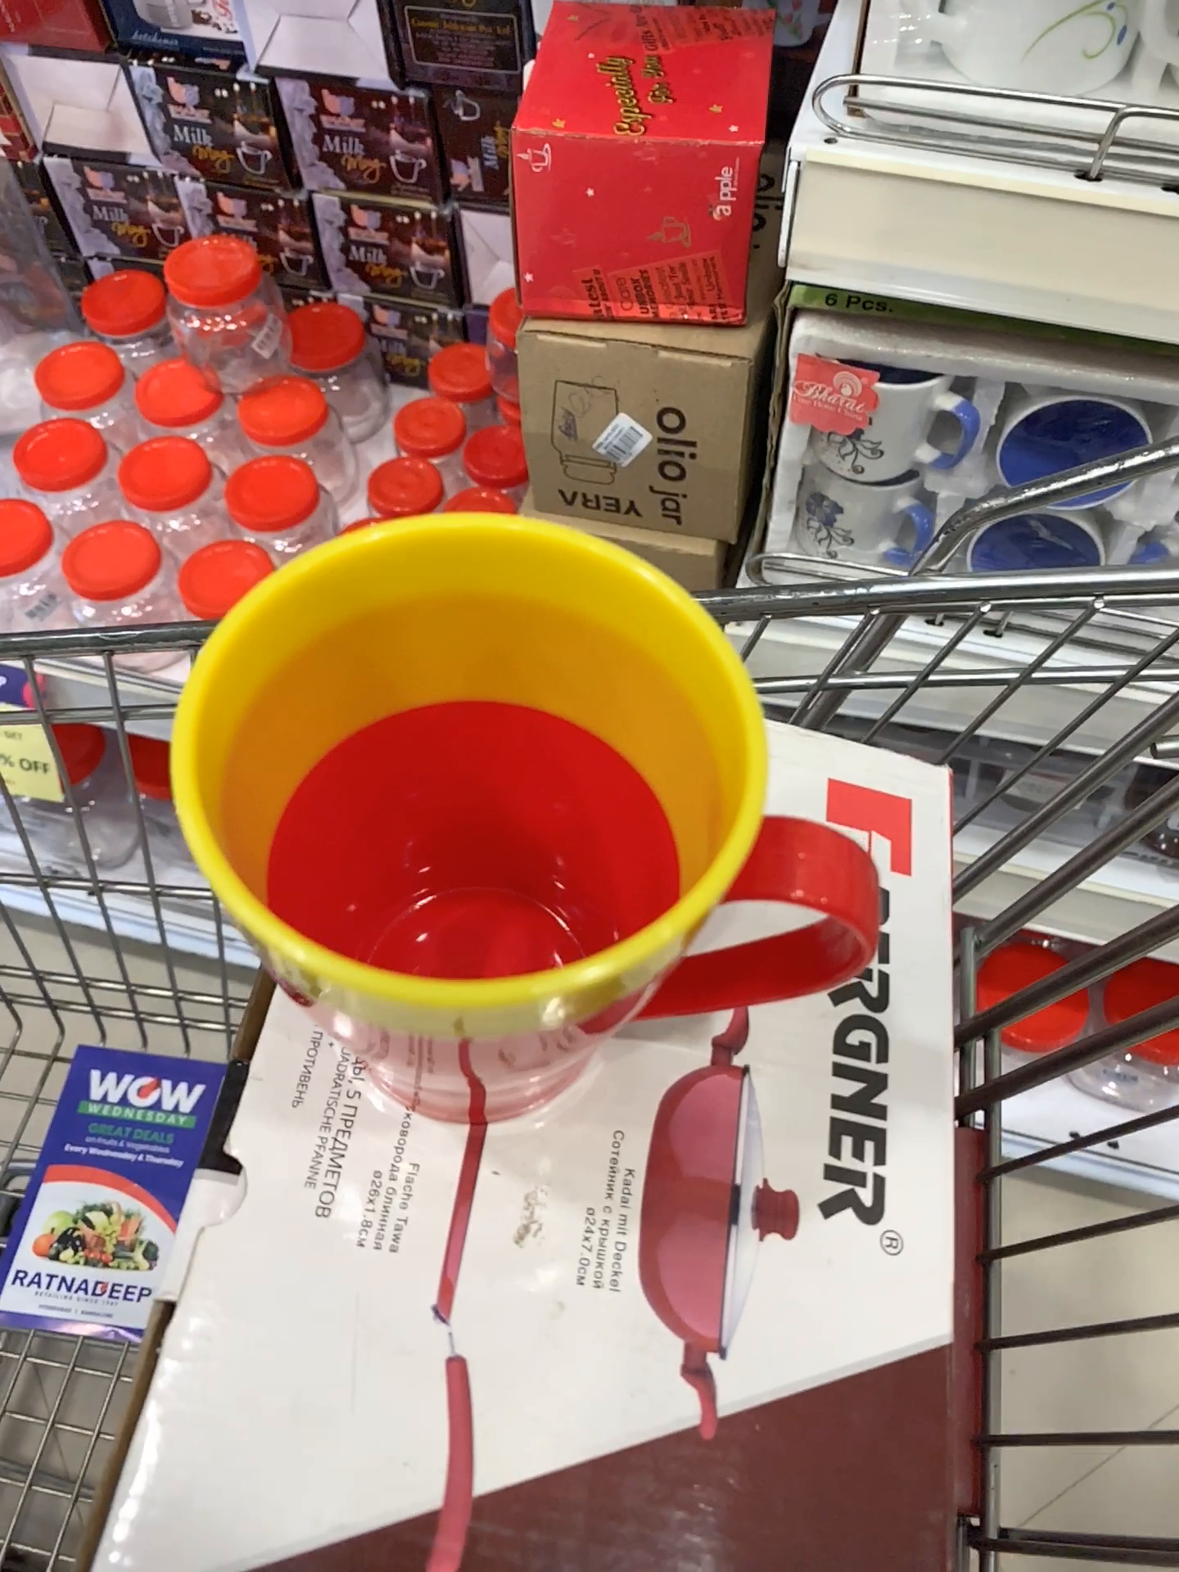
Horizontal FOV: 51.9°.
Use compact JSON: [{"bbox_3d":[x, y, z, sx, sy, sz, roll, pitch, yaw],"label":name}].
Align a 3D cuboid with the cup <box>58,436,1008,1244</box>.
[{"bbox_3d":[-0.003,0.012,0.194,0.110,0.080,0.080,11,58,4],"label":"cup"}]
